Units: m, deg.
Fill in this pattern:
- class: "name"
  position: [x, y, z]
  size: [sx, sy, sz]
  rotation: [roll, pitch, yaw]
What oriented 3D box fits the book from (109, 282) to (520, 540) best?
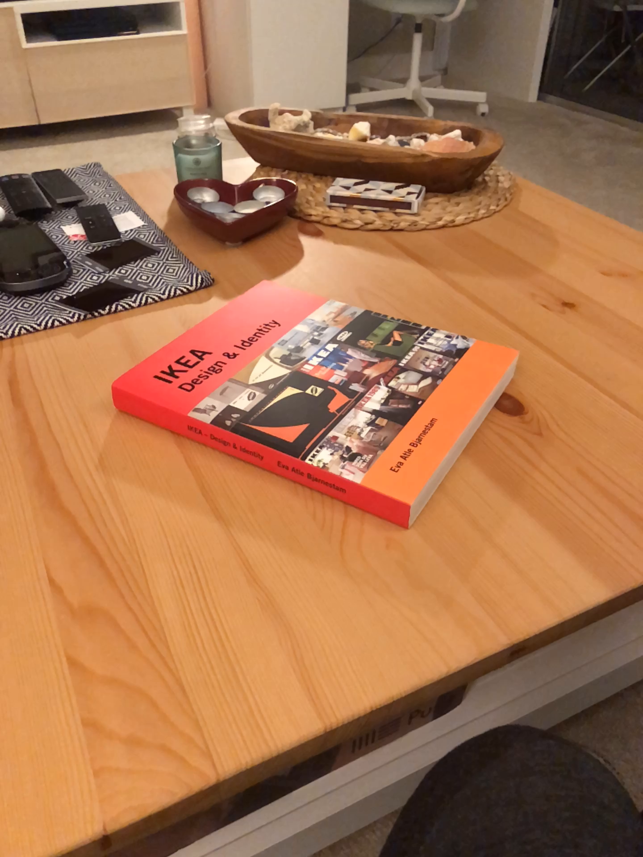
- class: "book"
  position: [0.001, -0.036, 0.576]
  size: [0.254, 0.030, 0.217]
  rotation: [20, 41, 23]
